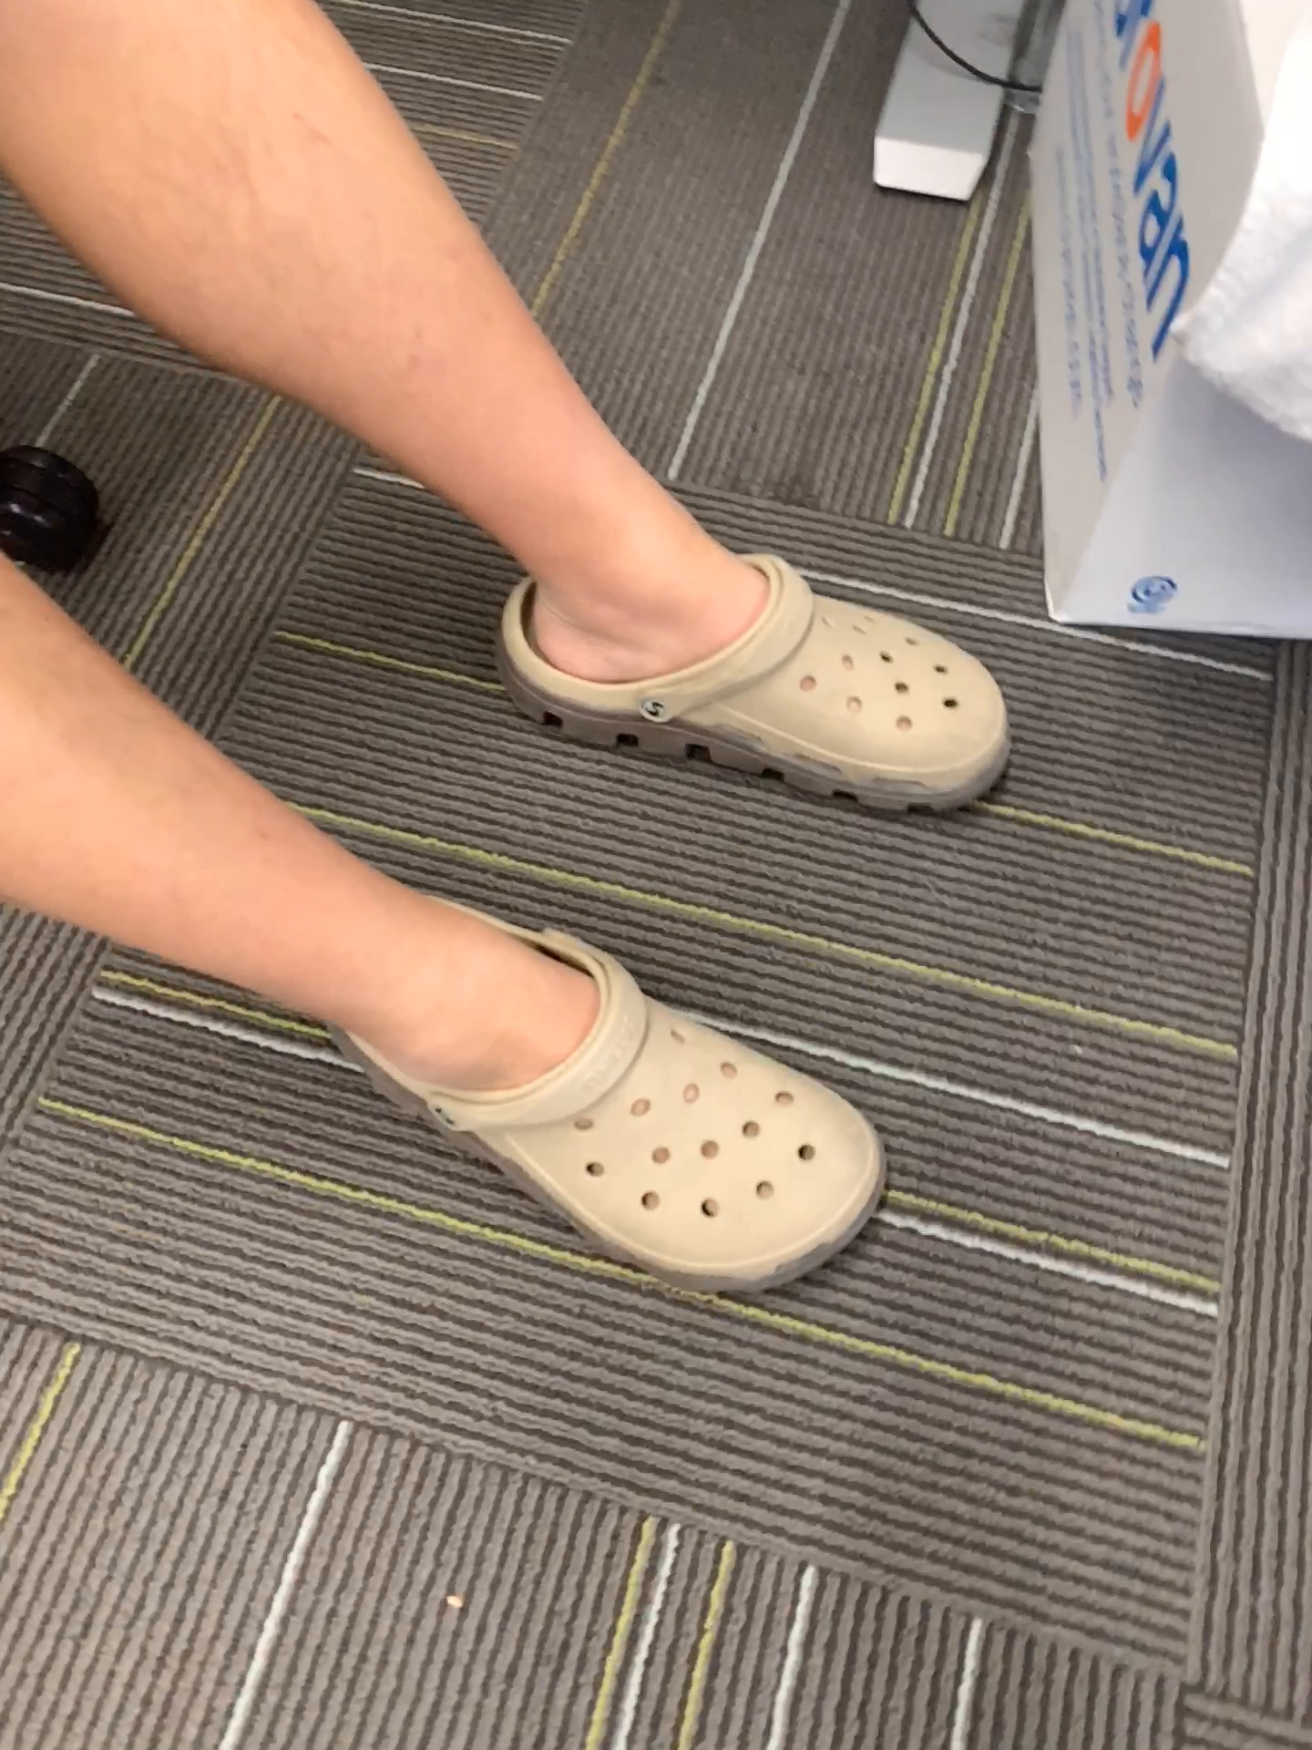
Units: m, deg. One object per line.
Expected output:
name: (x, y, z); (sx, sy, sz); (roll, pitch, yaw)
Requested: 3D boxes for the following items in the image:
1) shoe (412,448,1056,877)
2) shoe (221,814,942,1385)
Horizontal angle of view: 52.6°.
shoe: (0.044, -0.127, 0.773); (0.330, 0.080, 0.140); (18, 65, 9)
shoe: (-0.038, 0.108, 0.670); (0.321, 0.080, 0.134); (26, 67, 13)
